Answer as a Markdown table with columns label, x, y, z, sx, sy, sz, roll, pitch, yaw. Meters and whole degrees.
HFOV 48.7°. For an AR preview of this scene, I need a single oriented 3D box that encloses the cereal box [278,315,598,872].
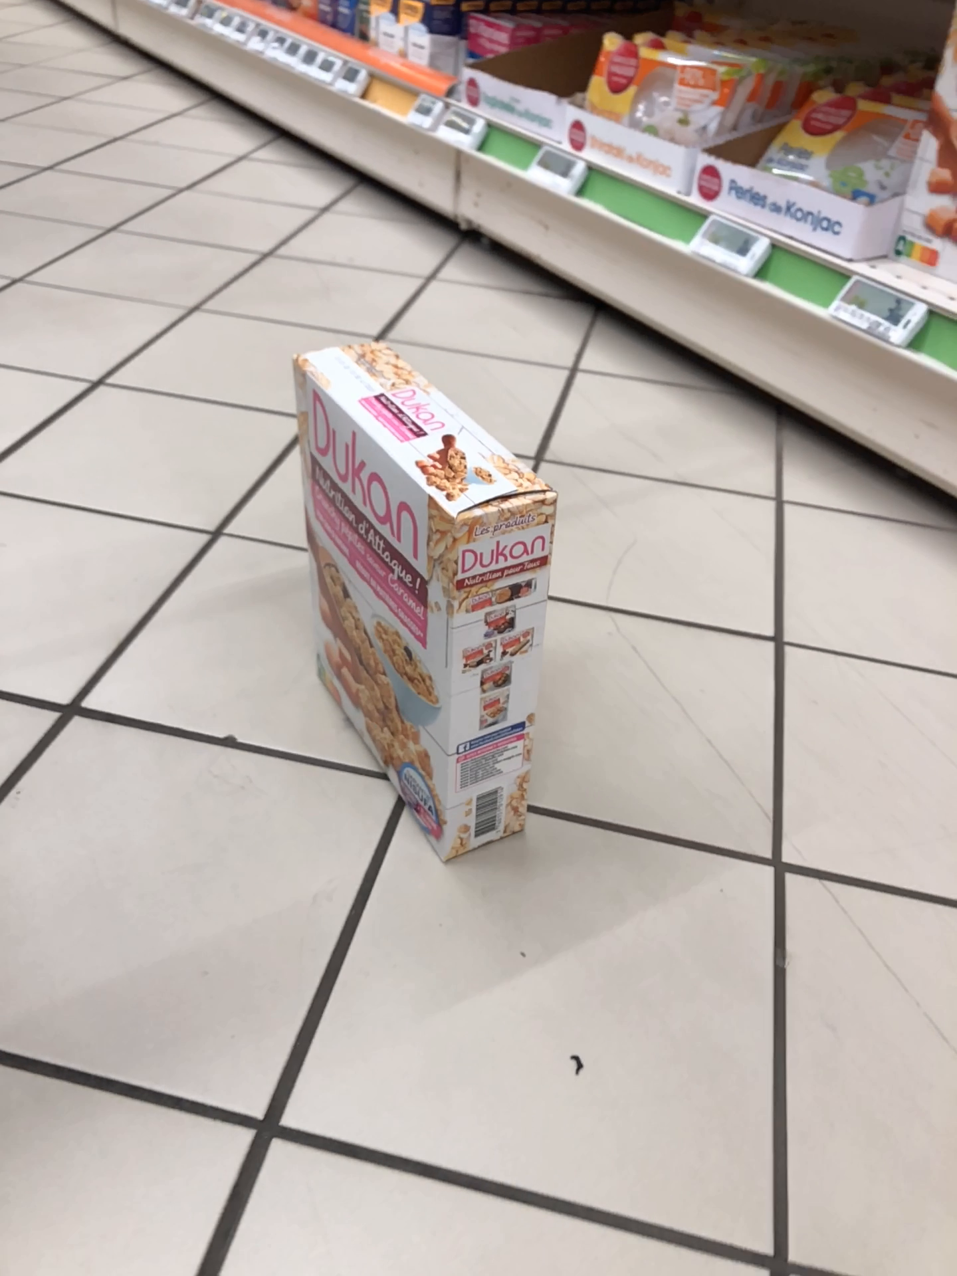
| label | x | y | z | sx | sy | sz | roll | pitch | yaw |
| --- | --- | --- | --- | --- | --- | --- | --- | --- | --- |
| cereal box | -0.033 | -0.027 | 0.525 | 0.060 | 0.199 | 0.190 | -15 | 41 | -26 |
